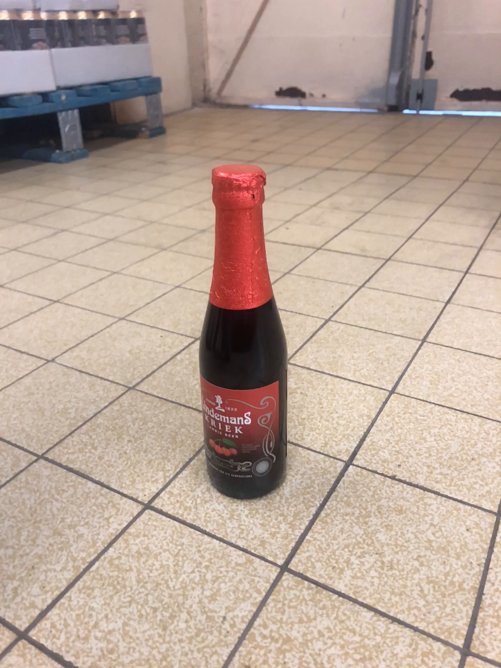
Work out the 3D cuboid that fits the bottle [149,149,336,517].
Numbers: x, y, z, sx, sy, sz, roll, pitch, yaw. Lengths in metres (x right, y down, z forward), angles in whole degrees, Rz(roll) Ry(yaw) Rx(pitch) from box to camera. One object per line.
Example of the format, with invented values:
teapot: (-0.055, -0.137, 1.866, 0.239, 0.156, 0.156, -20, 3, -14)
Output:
bottle: (-0.001, 0.000, 0.334, 0.070, 0.199, 0.070, -1, 27, 1)
